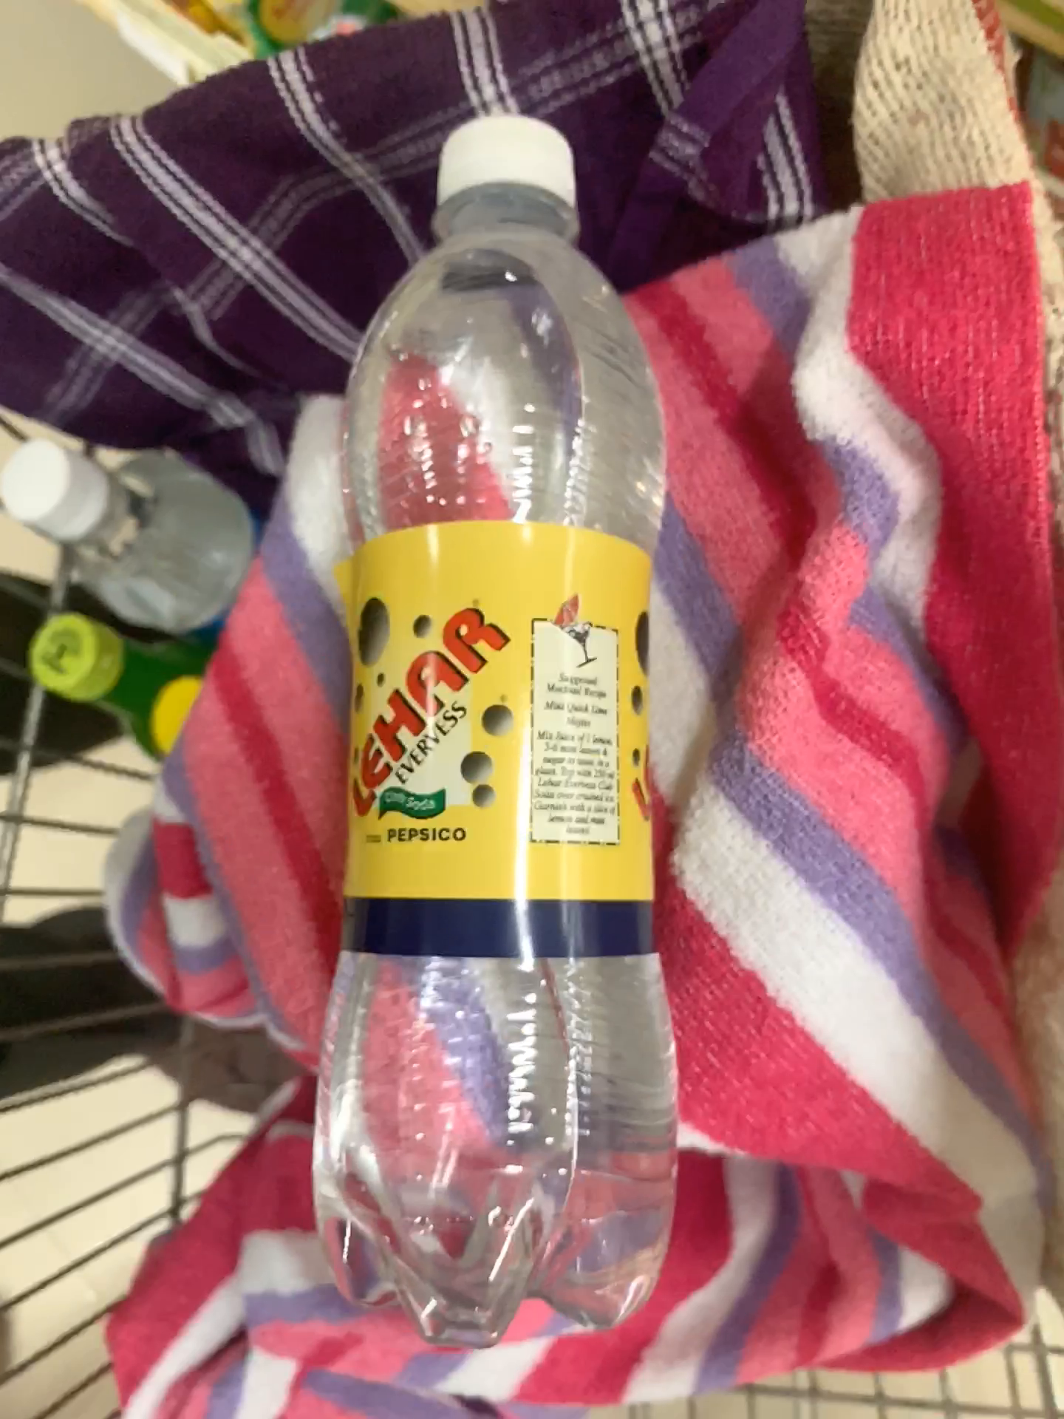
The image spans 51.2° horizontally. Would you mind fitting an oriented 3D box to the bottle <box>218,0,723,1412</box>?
[{"bbox_3d":[-0.006,-0.012,0.220,0.070,0.070,0.240,-3,80,18],"label":"bottle"}]
